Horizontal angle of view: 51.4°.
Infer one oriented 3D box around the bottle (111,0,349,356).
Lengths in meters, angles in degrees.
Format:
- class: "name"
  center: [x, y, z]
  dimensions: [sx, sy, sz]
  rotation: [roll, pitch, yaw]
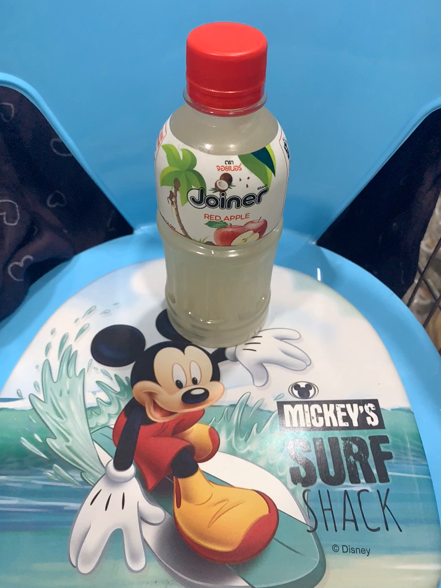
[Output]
- class: "bottle"
  center: [0.003, -0.040, 0.210]
  dimensions: [0.070, 0.150, 0.060]
  rotation: [0, 47, 0]
